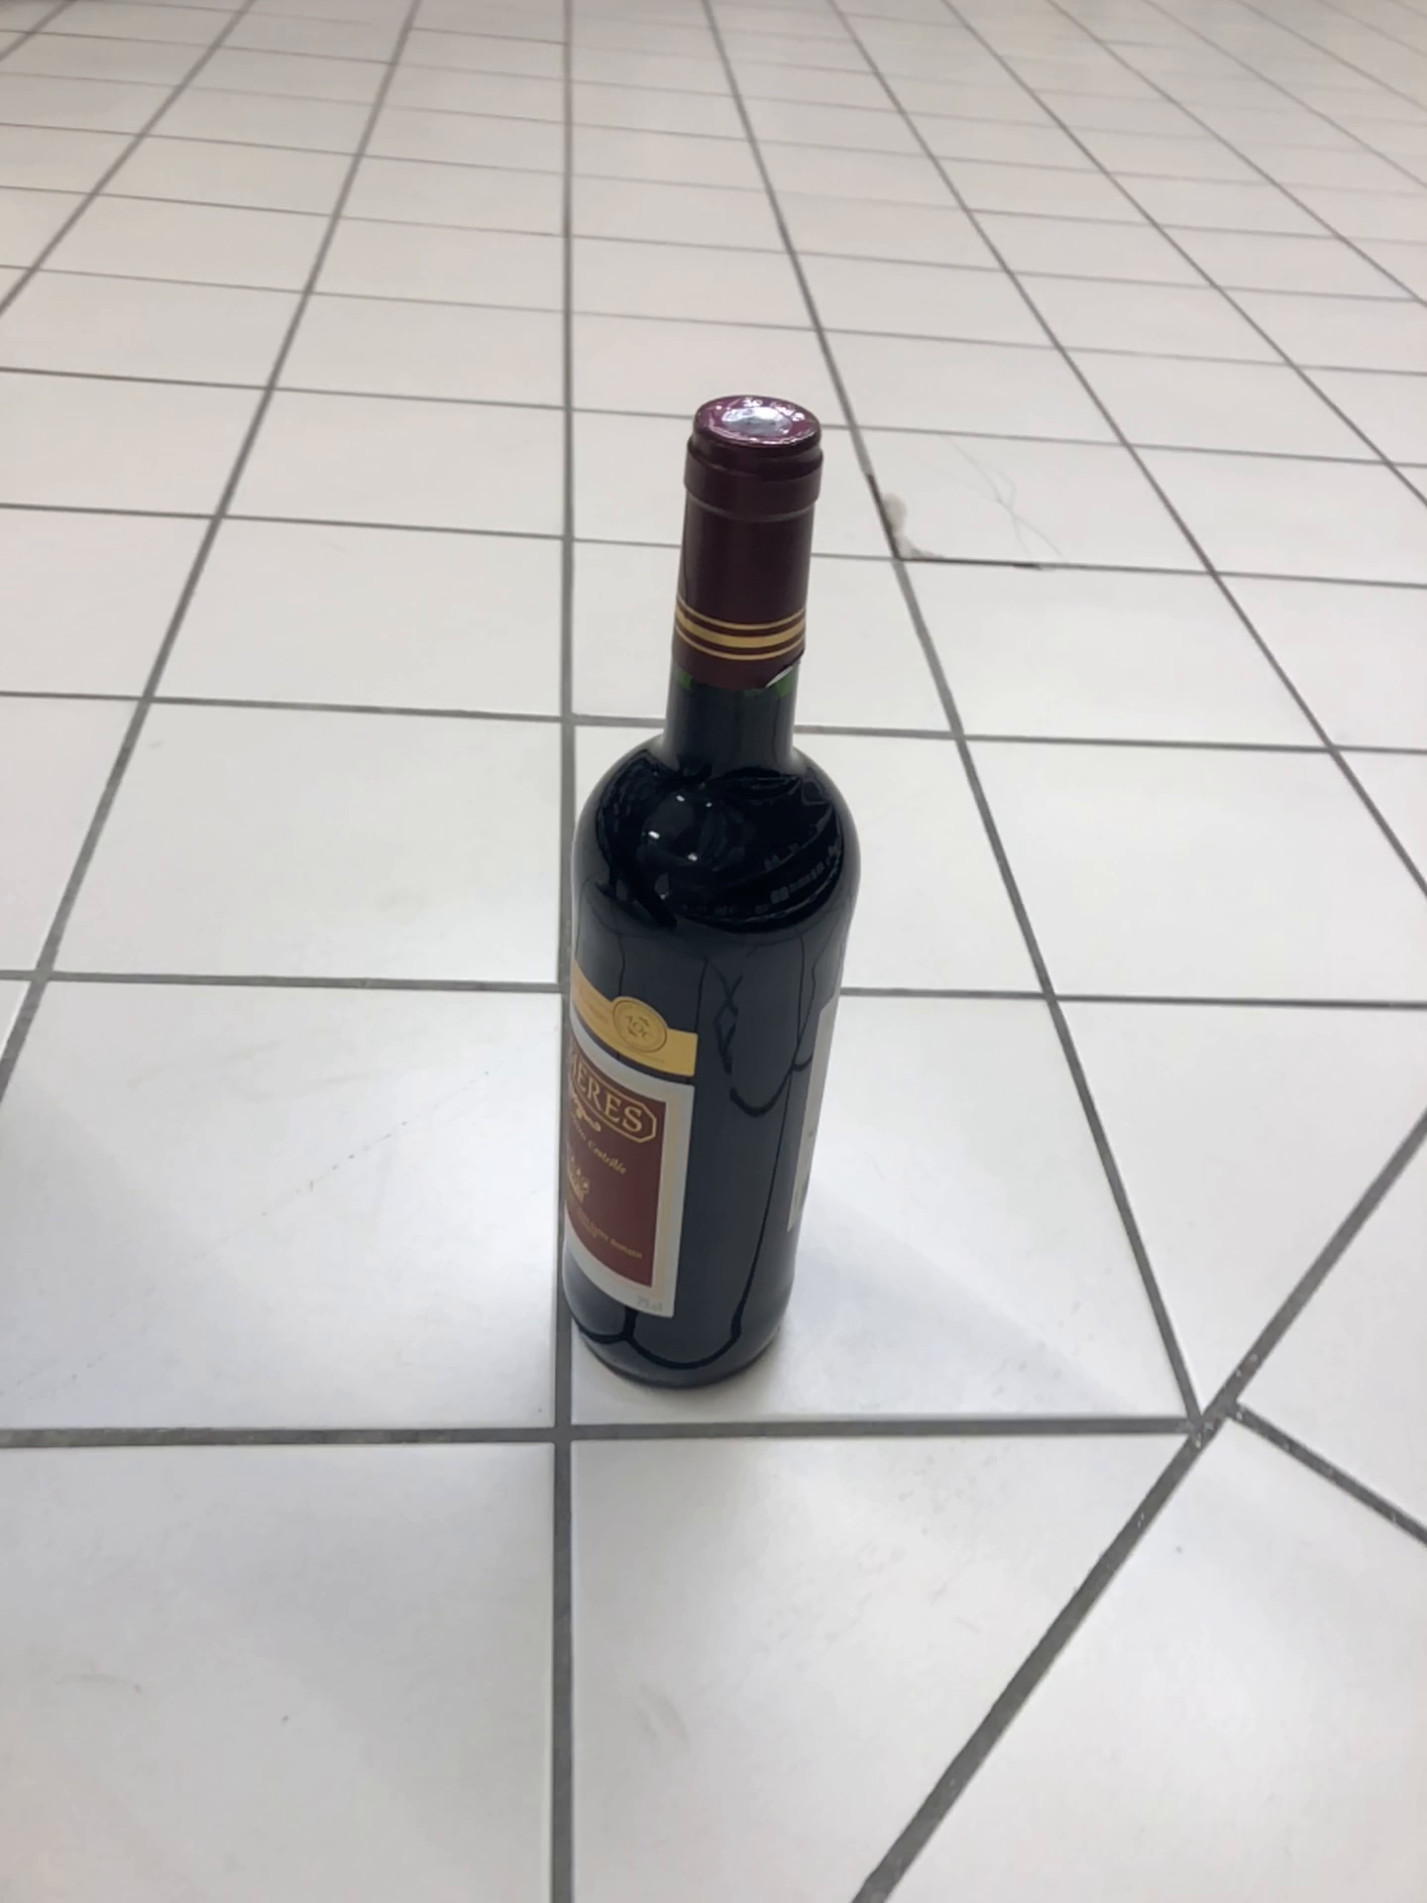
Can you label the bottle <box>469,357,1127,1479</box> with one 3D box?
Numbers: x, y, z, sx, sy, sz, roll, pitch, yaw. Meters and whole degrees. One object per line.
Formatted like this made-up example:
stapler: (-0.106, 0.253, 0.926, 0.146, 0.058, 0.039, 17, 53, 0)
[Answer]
bottle: (0.001, 0.003, 0.403, 0.100, 0.268, 0.100, 4, 40, -4)
